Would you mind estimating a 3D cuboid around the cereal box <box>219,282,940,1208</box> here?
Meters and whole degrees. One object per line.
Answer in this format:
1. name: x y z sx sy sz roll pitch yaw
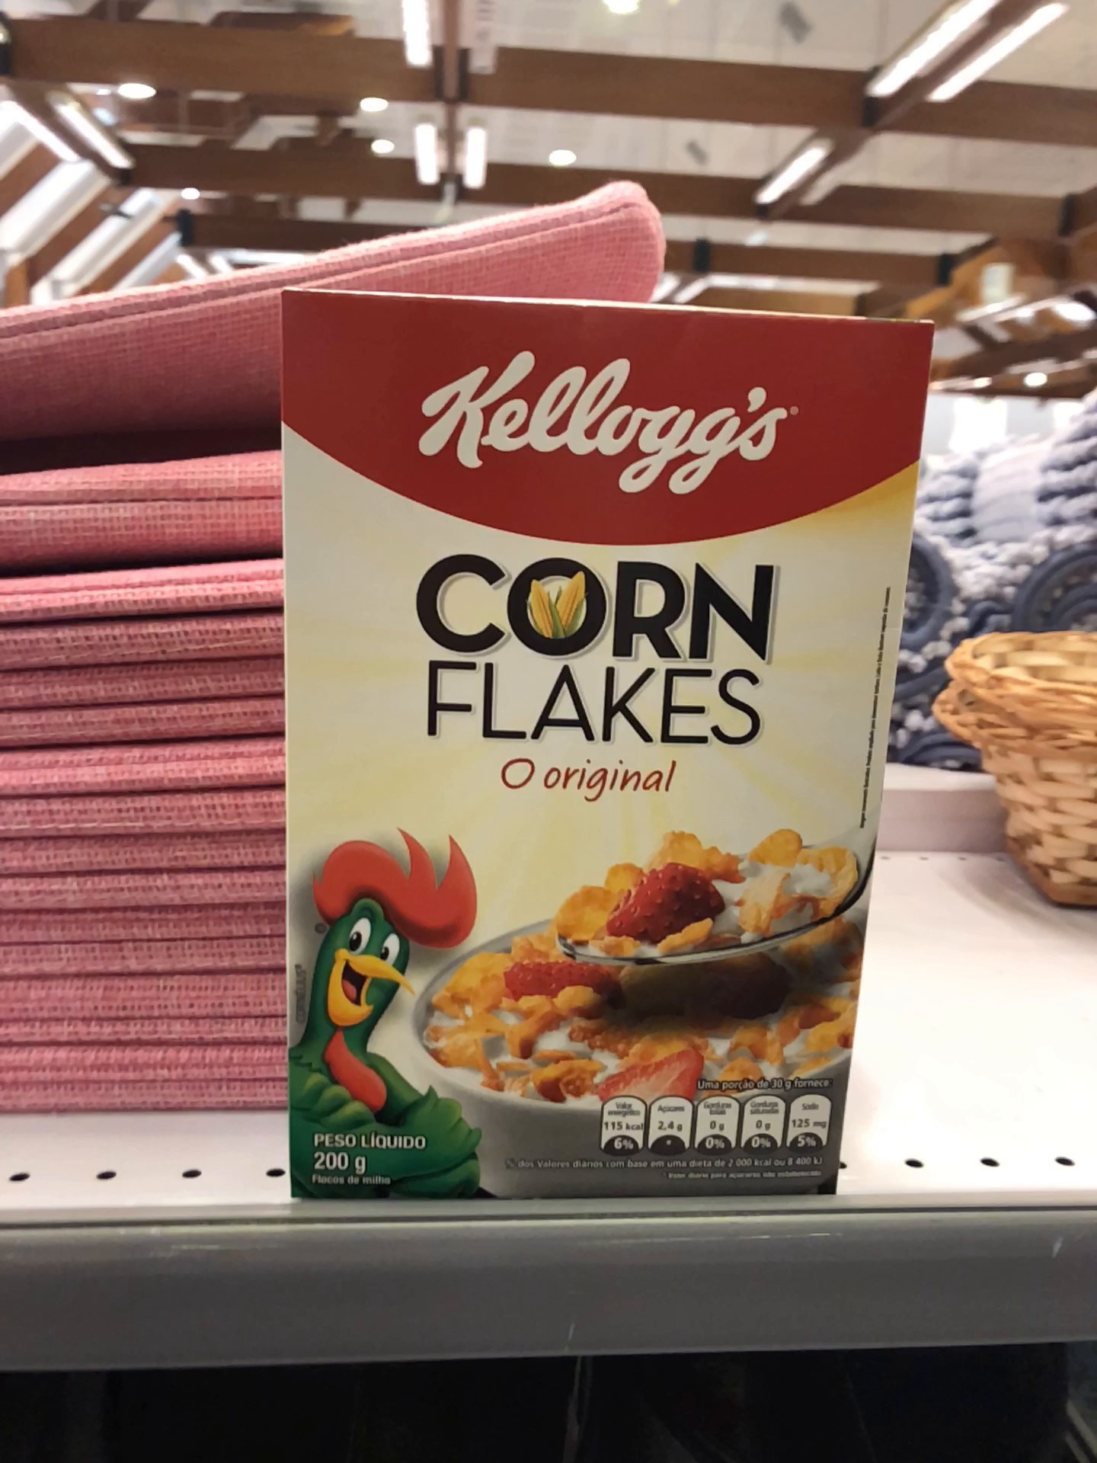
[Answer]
1. cereal box: 0.002 0.010 0.364 0.180 0.259 0.060 1 14 -4
